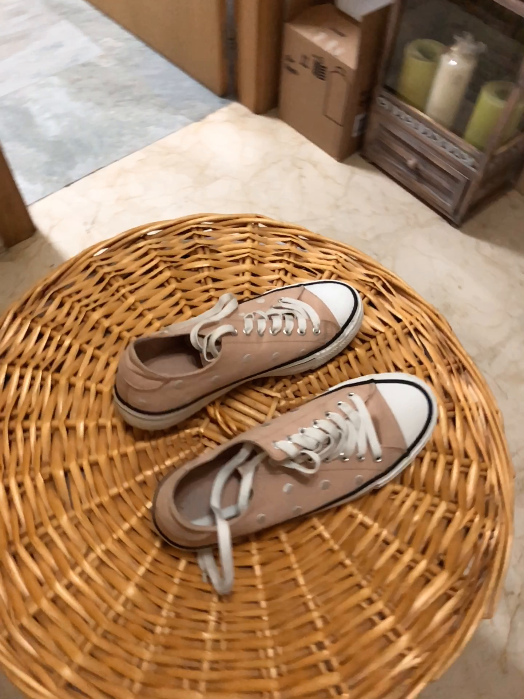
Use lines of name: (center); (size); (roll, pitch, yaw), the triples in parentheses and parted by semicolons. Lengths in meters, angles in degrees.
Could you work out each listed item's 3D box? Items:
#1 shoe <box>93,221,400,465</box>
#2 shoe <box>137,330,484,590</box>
shoe: (-0.009, -0.012, 0.511); (0.246, 0.085, 0.087); (-28, 63, -22)
shoe: (0.036, 0.087, 0.469); (0.246, 0.095, 0.093); (-24, 74, -16)
